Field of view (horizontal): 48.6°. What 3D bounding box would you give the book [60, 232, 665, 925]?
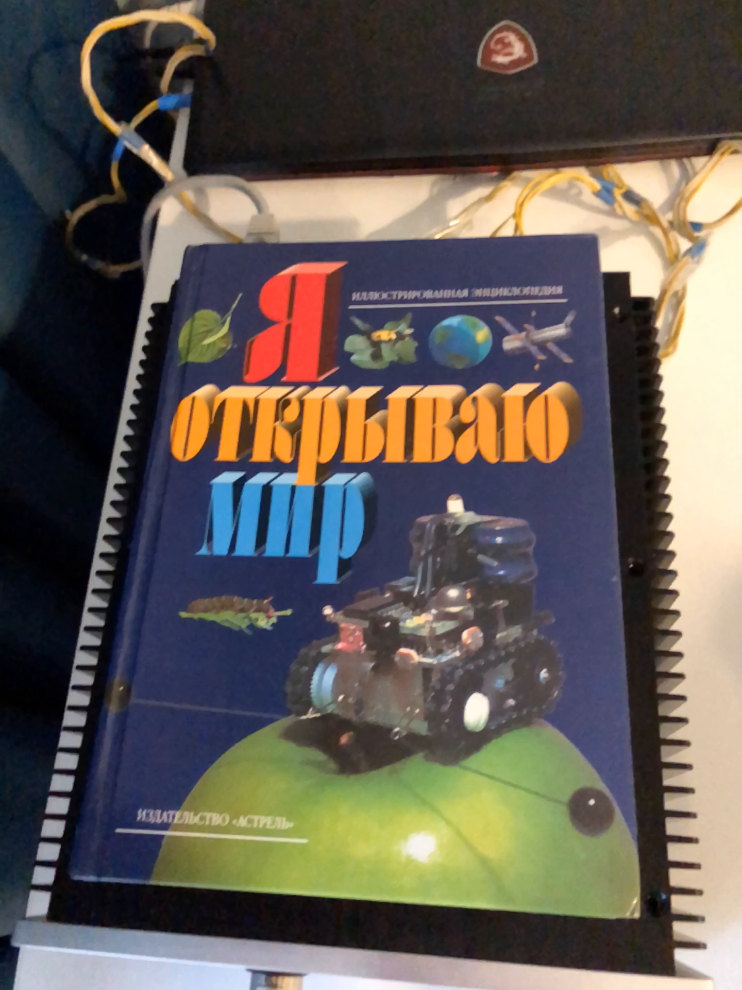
[{"bbox_3d":[0.003,0.012,0.315,0.186,0.030,0.256,1,66,7],"label":"book"}]
